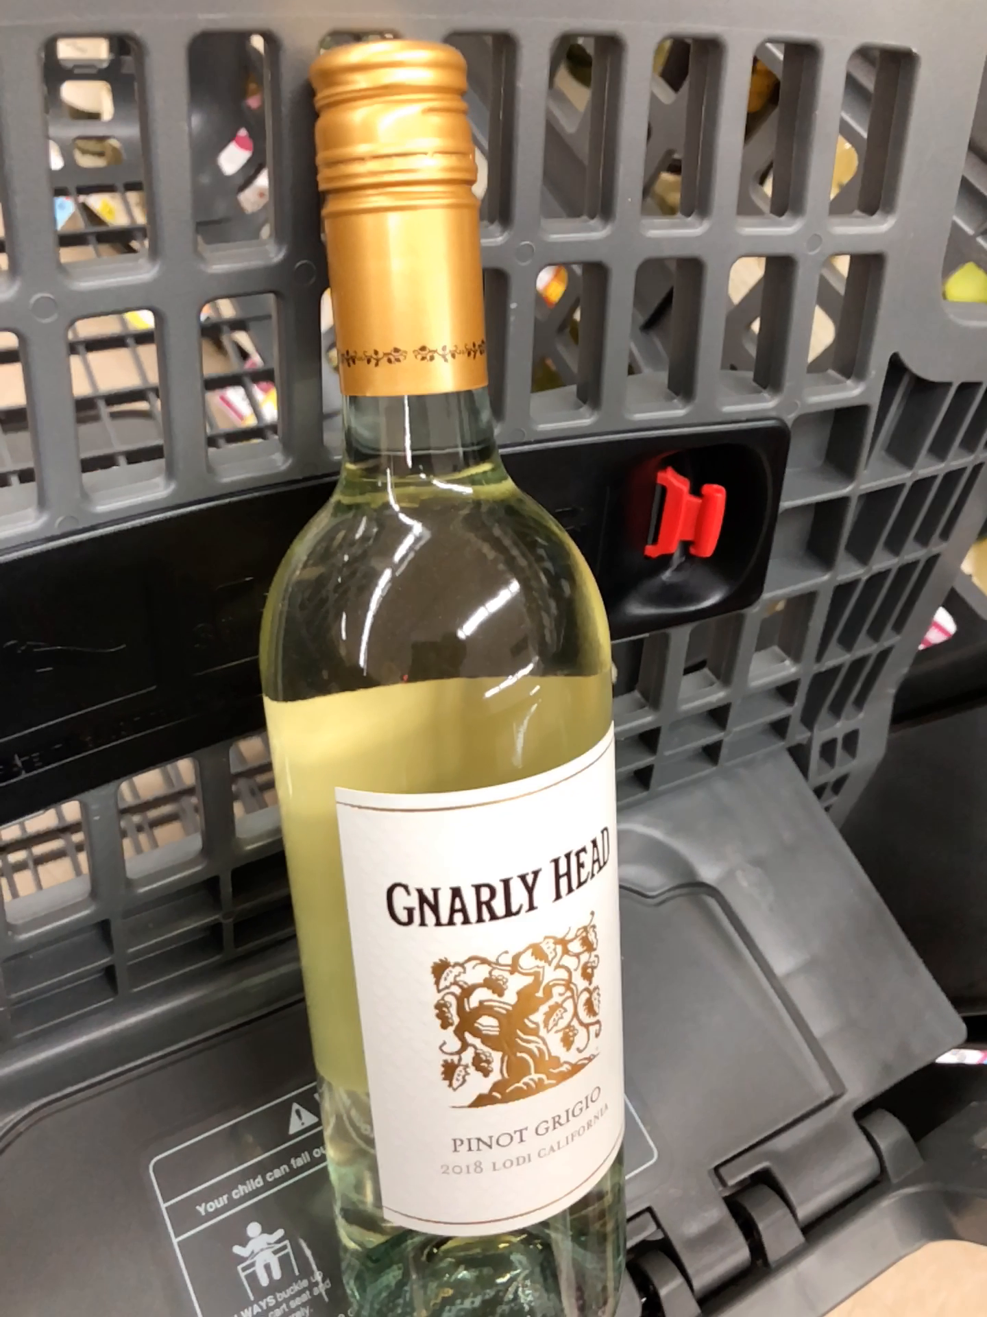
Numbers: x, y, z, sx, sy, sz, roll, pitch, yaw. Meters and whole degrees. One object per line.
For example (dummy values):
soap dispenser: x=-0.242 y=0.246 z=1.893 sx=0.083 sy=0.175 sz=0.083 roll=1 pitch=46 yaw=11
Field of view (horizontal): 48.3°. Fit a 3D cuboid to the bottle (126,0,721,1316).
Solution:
bottle: x=-0.009 y=0.022 z=0.240 sx=0.080 sy=0.070 sz=0.280 roll=-12 pitch=107 yaw=-24
